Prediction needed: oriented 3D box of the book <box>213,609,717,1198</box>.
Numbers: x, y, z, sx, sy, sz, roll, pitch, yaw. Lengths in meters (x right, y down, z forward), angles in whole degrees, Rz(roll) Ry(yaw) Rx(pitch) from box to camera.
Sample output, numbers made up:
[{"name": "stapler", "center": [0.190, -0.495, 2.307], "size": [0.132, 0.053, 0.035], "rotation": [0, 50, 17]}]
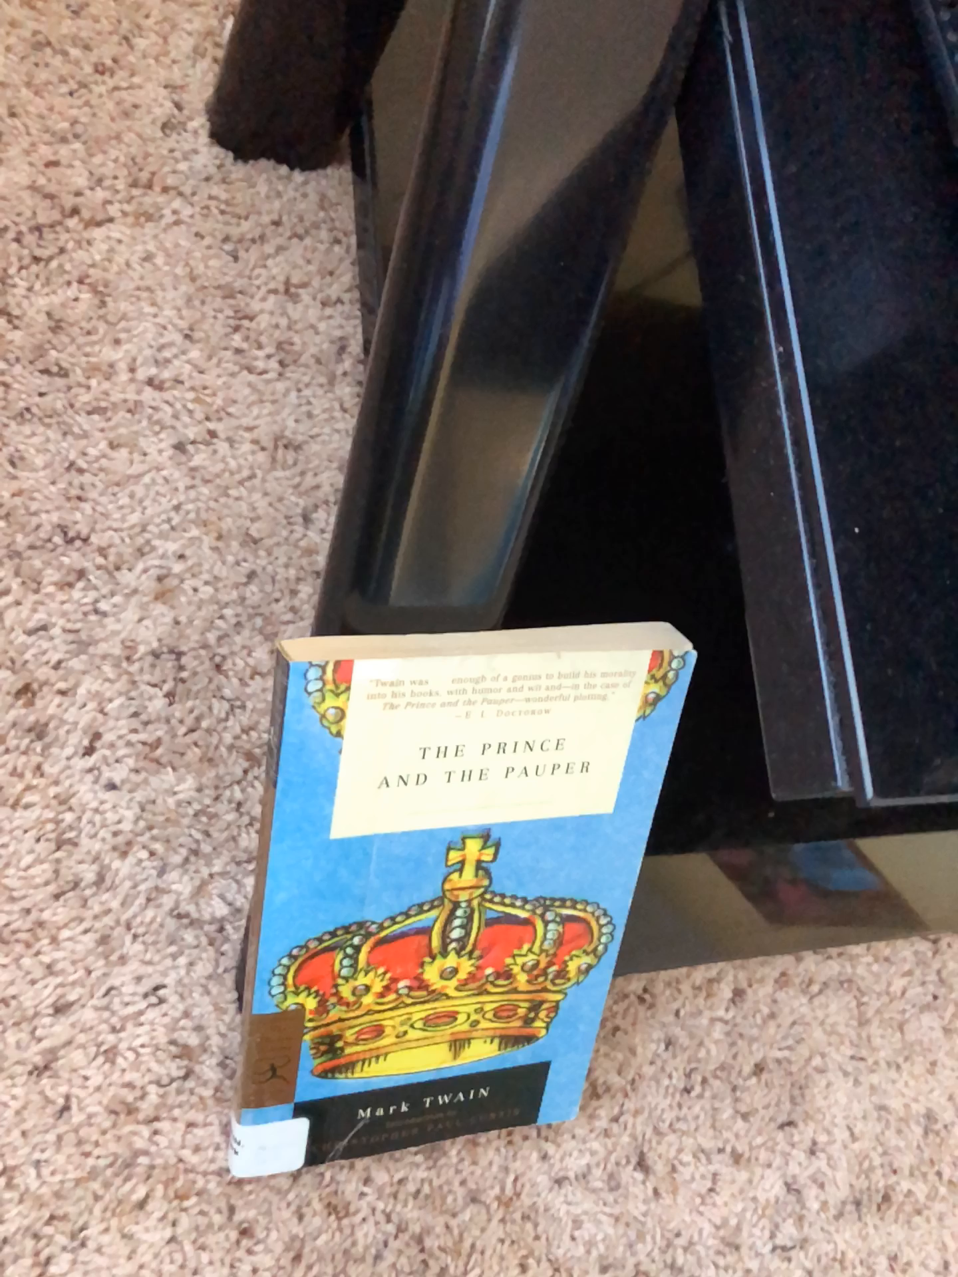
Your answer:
[{"name": "book", "center": [-0.009, 0.086, 0.346], "size": [0.130, 0.030, 0.193], "rotation": [0, 115, -27]}]
